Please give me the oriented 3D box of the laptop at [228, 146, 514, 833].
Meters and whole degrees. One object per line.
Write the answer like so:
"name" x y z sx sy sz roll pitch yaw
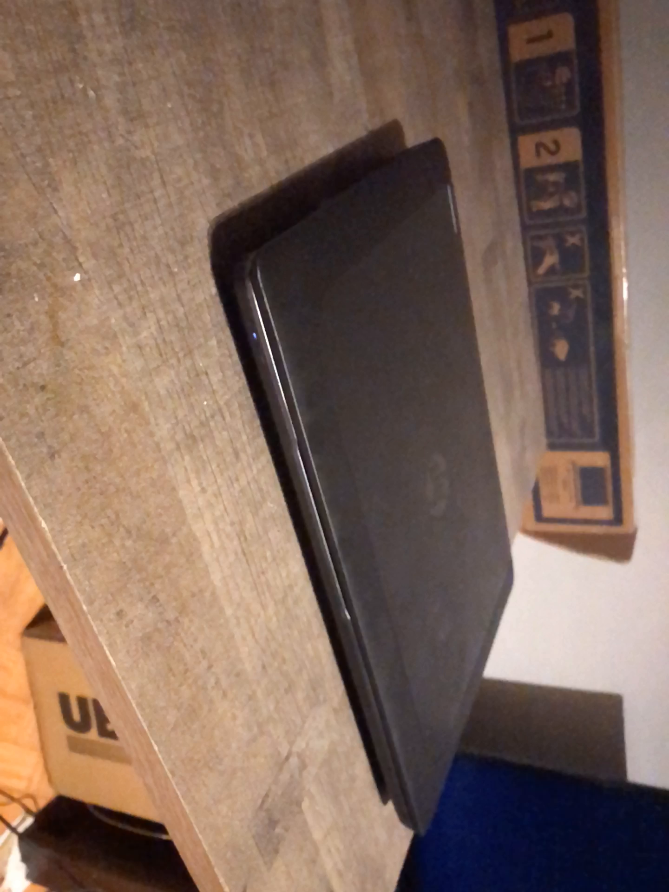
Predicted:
"laptop" 0.057 0.024 0.477 0.241 0.017 0.366 -52 135 -49
